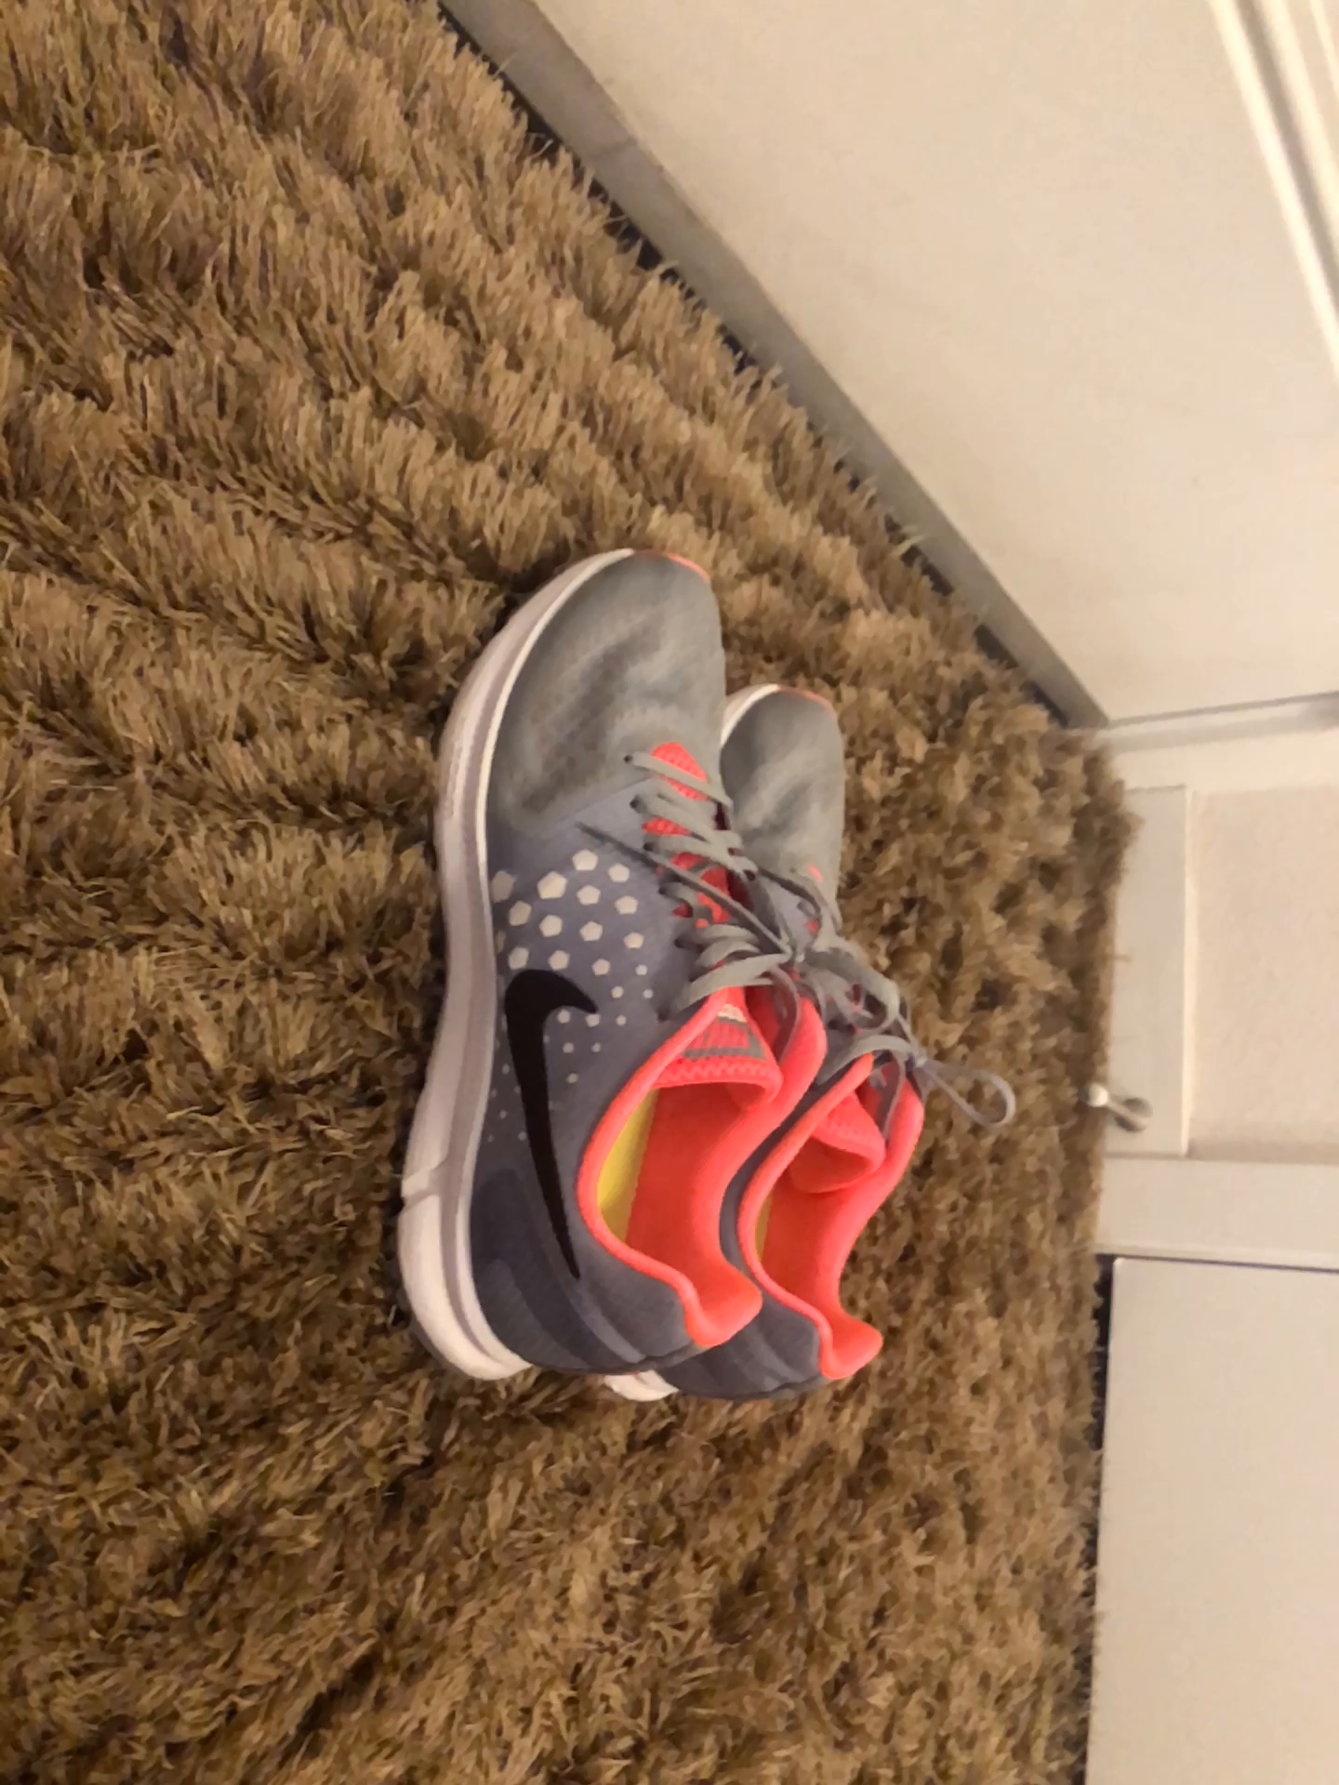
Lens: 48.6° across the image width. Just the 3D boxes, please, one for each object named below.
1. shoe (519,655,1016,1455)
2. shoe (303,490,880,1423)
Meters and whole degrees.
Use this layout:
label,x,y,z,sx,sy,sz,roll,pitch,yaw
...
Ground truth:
label,x,y,z,sx,sy,sz,roll,pitch,yaw
shoe,0.048,0.064,0.575,0.119,0.118,0.270,34,59,-51
shoe,-0.017,0.026,0.496,0.114,0.121,0.270,26,65,-53
